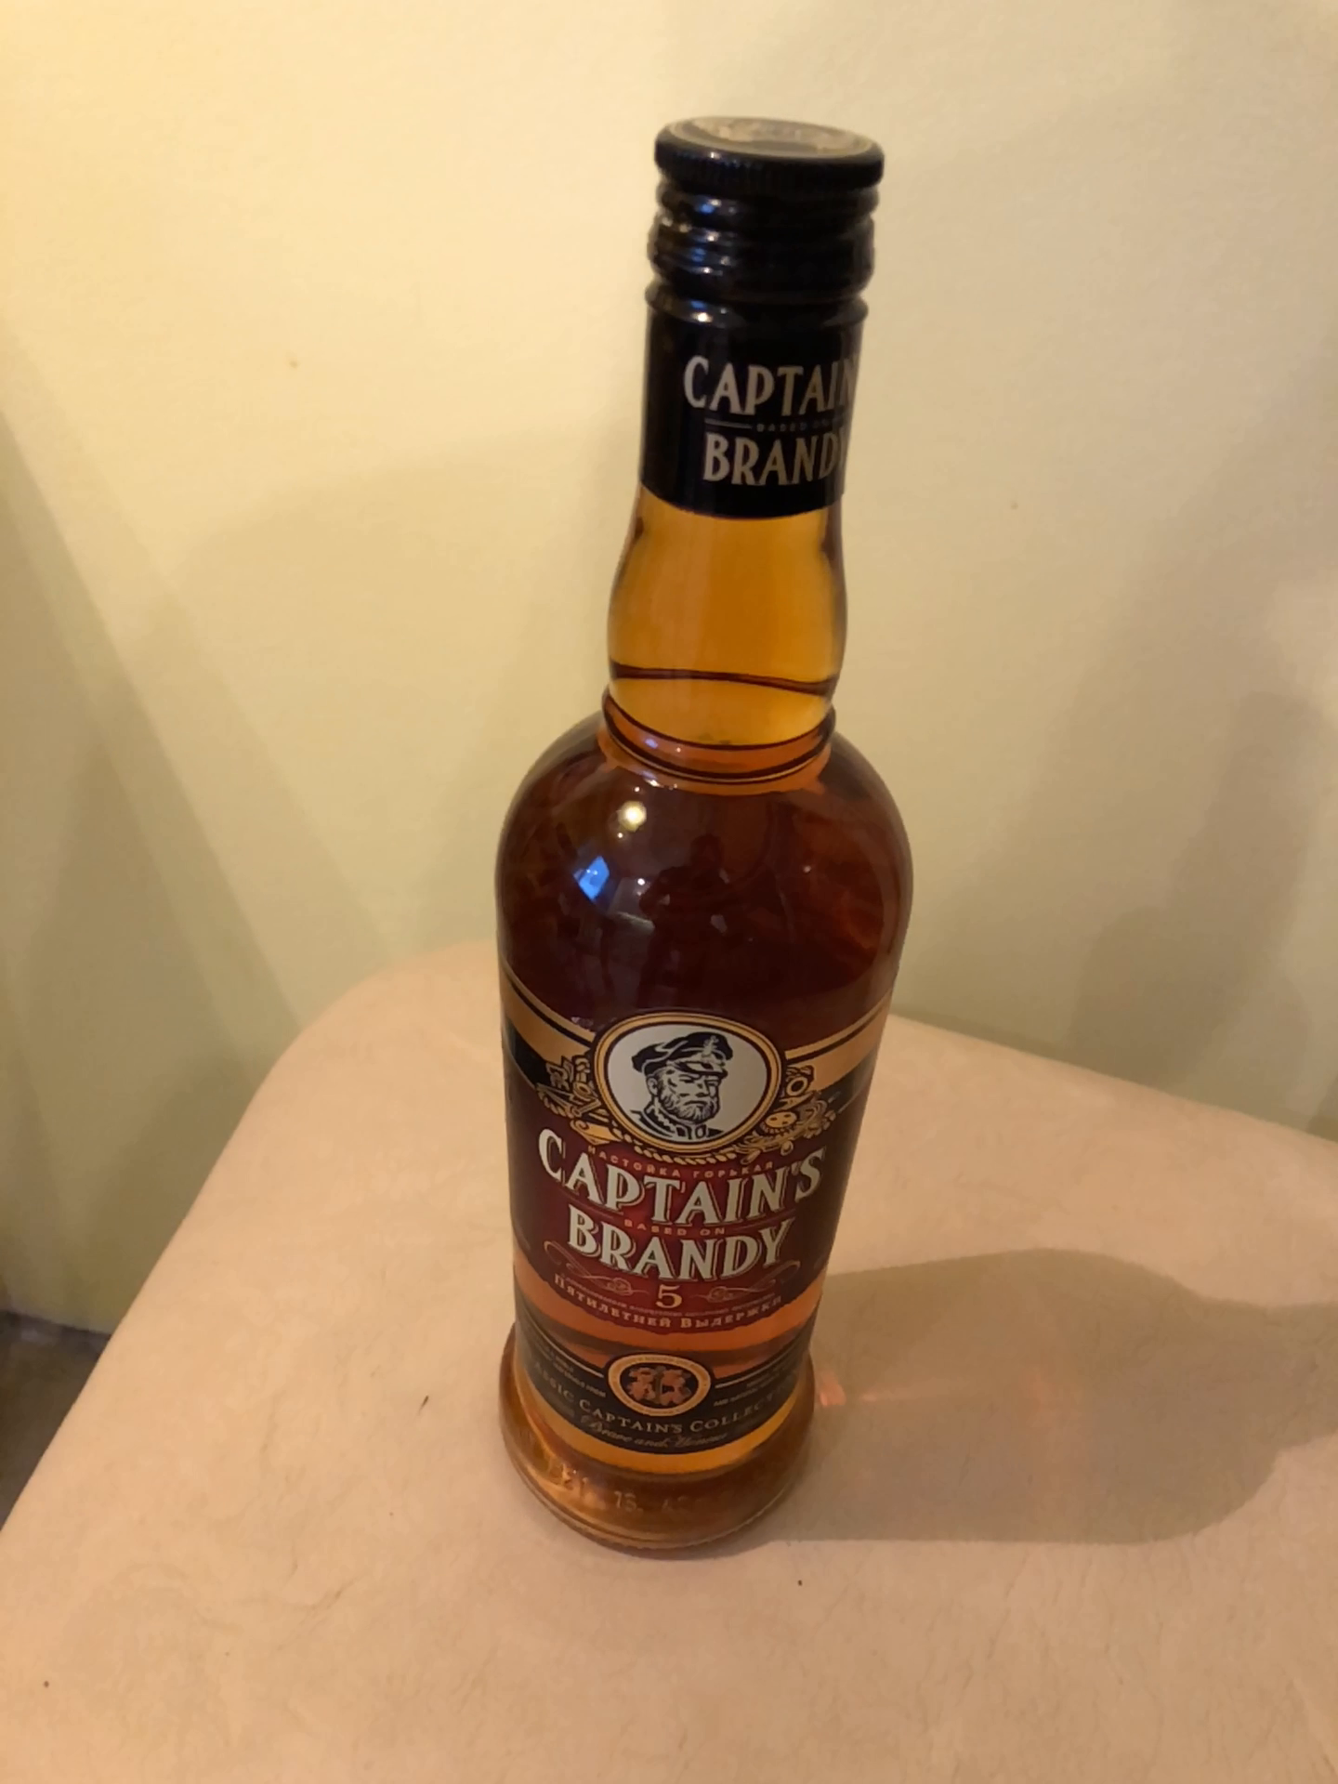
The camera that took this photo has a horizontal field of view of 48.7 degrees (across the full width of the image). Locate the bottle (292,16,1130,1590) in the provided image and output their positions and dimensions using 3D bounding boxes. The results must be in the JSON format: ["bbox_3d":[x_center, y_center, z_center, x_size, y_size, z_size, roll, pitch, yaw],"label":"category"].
[{"bbox_3d":[0.003,0.010,0.245,0.080,0.258,0.071,4,36,3],"label":"bottle"}]
